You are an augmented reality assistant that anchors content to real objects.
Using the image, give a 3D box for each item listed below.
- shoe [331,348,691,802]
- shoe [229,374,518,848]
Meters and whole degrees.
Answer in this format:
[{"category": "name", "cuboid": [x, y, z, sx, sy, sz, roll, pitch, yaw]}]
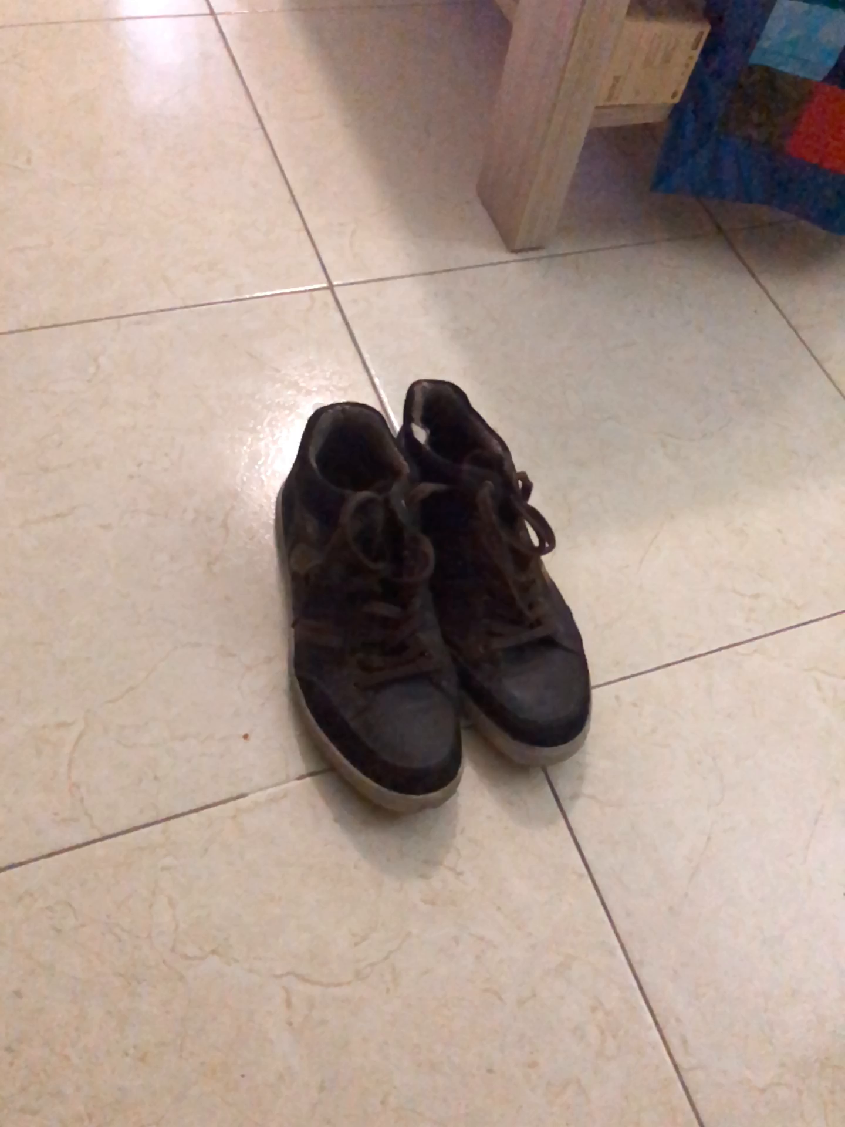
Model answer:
[{"category": "shoe", "cuboid": [0.047, -0.001, 0.688, 0.120, 0.110, 0.300, -17, 63, -20]}, {"category": "shoe", "cuboid": [-0.049, 0.023, 0.653, 0.120, 0.110, 0.301, -9, 60, -15]}]
